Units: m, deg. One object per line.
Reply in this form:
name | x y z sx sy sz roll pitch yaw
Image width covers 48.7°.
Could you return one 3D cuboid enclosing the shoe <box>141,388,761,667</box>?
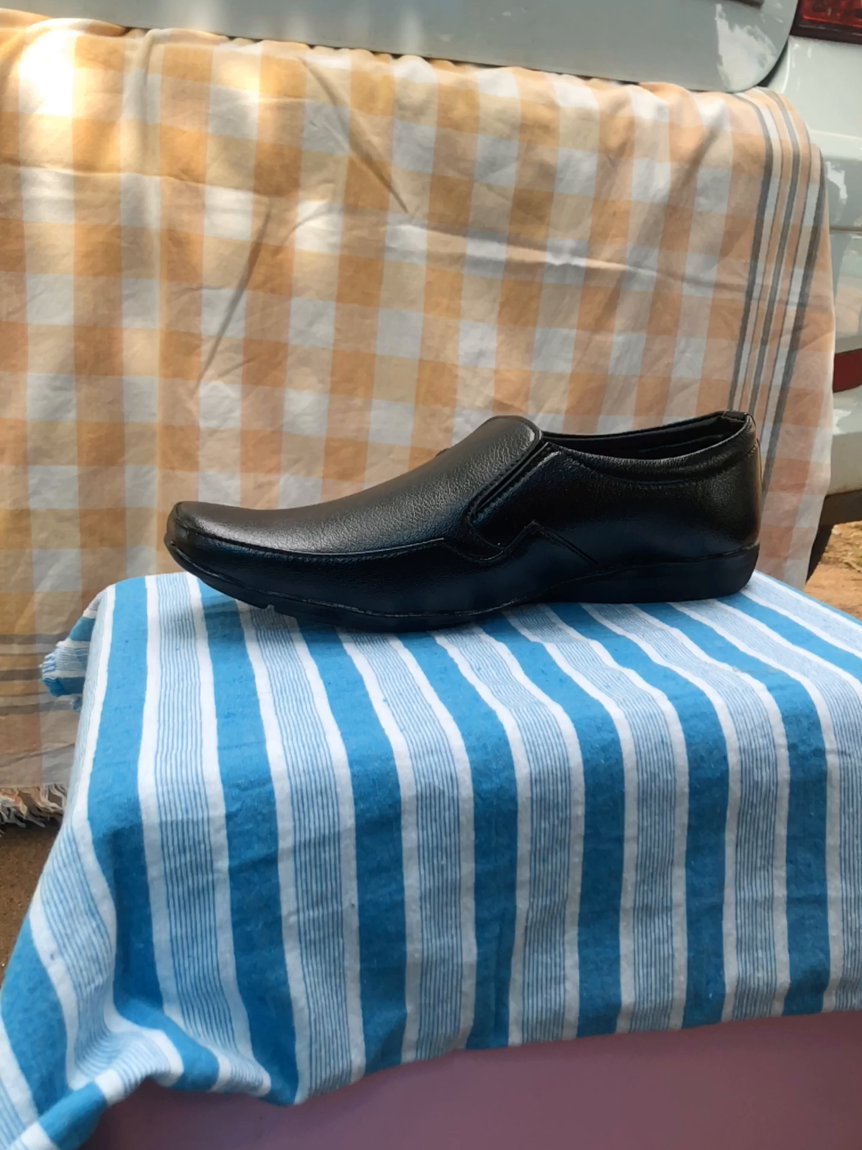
shoe | 0.012 -0.036 0.498 0.301 0.110 0.100 -4 17 -22
